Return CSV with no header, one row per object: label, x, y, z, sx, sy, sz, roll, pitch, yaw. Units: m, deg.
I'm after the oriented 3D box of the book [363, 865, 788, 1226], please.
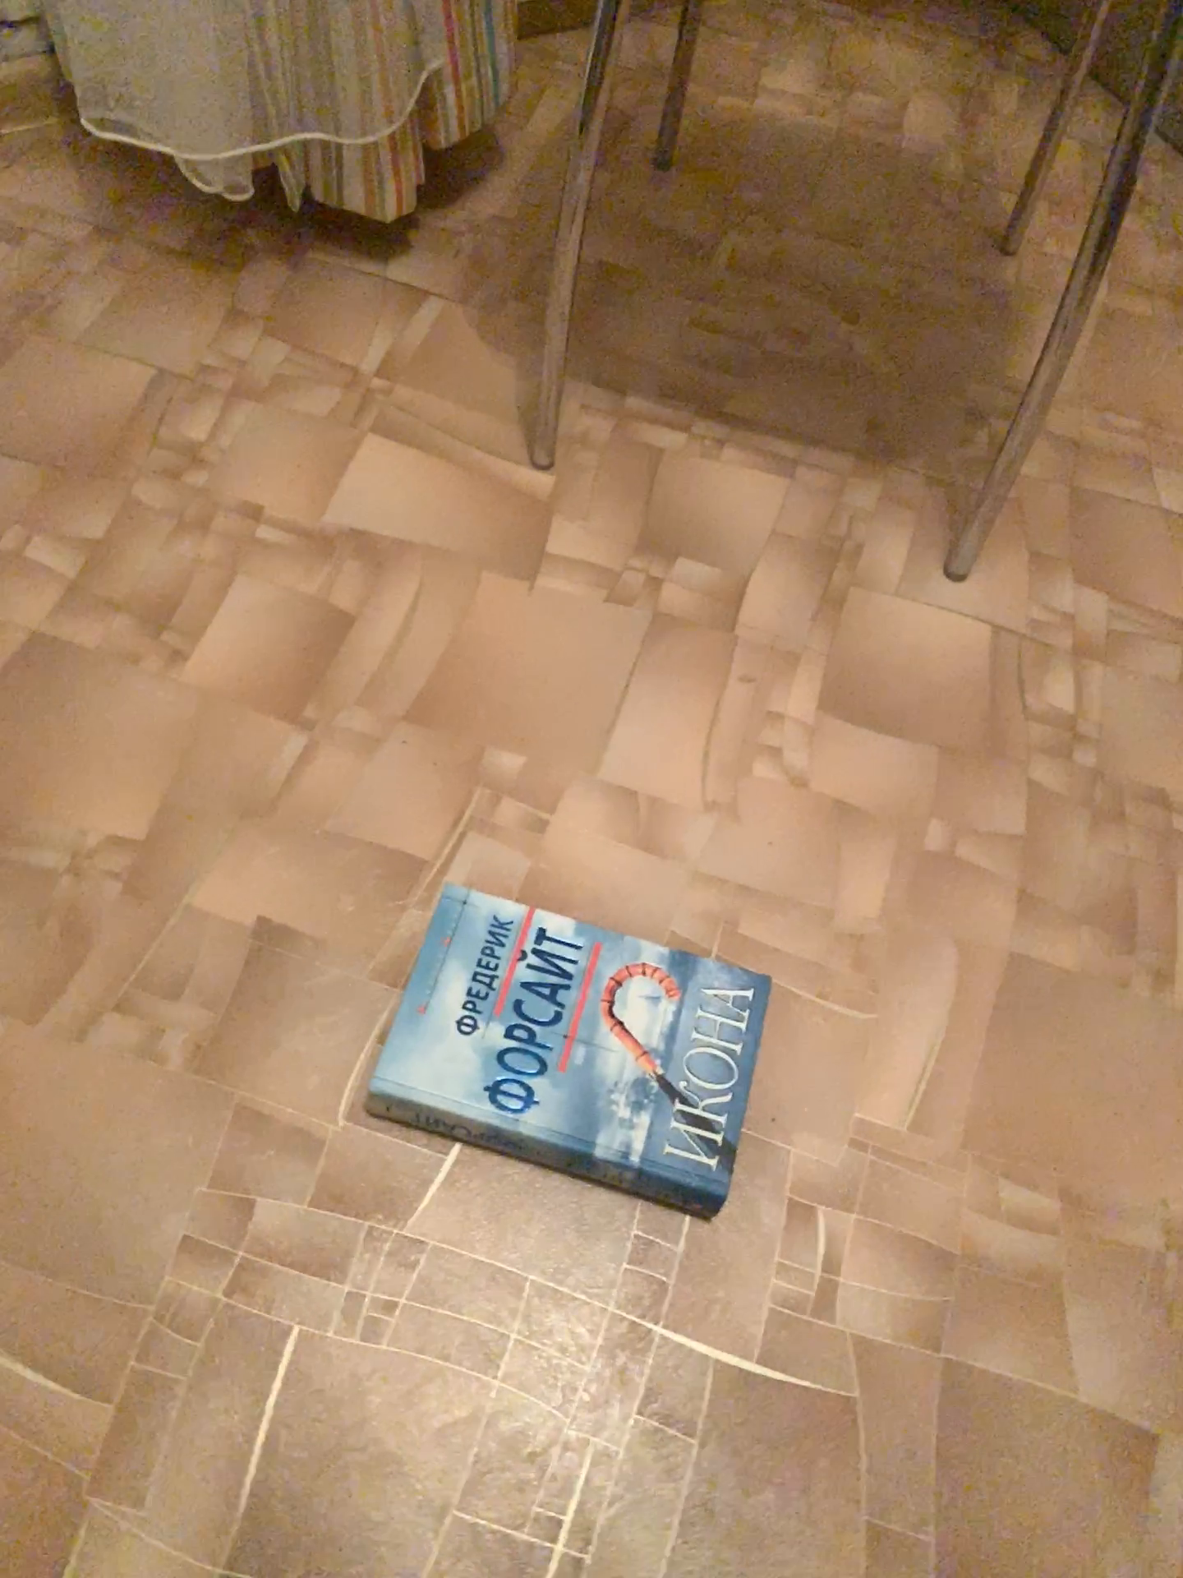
book,-0.007,0.157,0.751,0.223,0.056,0.153,16,60,4
